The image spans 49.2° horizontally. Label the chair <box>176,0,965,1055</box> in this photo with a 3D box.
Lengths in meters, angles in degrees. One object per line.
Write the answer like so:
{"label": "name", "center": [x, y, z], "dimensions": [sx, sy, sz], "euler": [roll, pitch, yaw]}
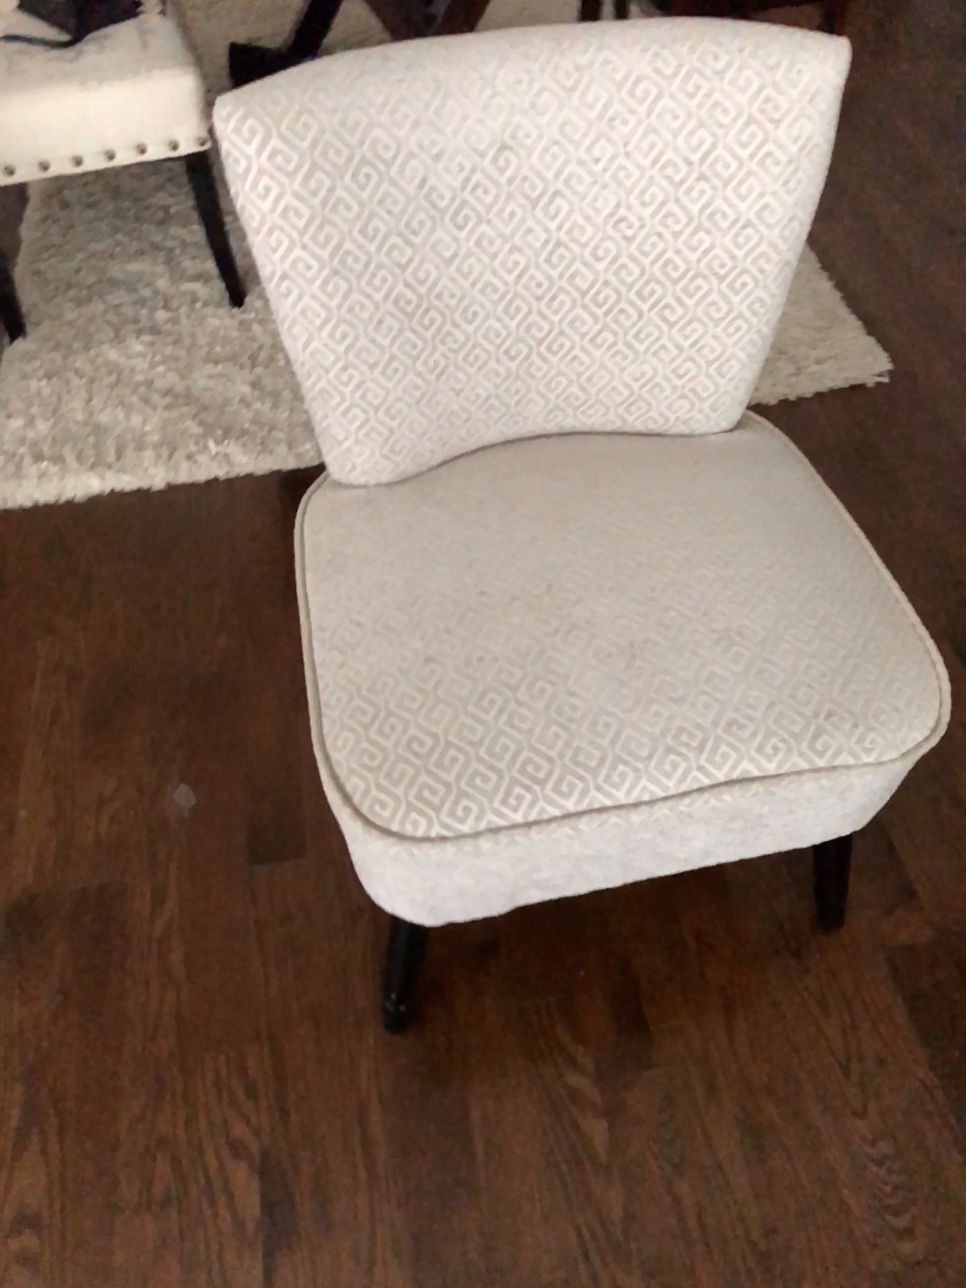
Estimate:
{"label": "chair", "center": [0.096, -0.104, 1.061], "dimensions": [0.600, 0.797, 0.642], "euler": [-9, 51, -7]}
